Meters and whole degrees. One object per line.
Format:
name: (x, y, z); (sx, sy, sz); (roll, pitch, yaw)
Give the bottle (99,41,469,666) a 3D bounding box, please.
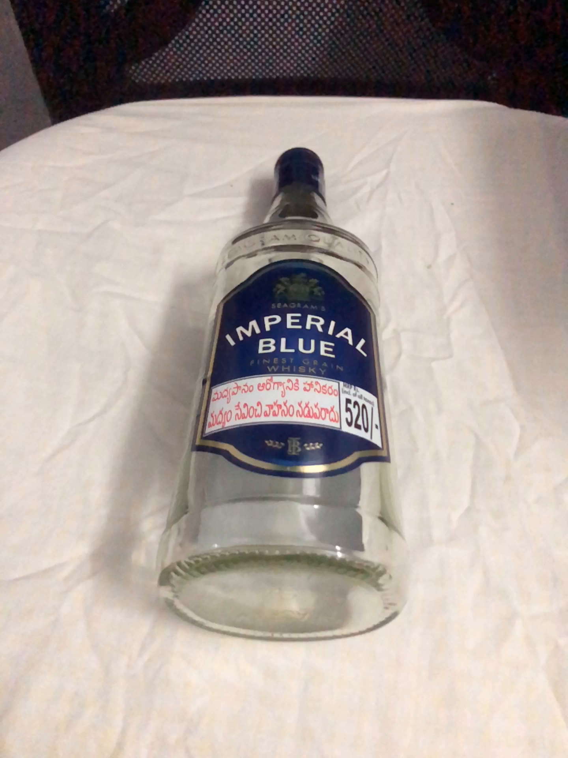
bottle: (0.005, -0.035, 0.266); (0.090, 0.080, 0.271); (2, 53, 1)
